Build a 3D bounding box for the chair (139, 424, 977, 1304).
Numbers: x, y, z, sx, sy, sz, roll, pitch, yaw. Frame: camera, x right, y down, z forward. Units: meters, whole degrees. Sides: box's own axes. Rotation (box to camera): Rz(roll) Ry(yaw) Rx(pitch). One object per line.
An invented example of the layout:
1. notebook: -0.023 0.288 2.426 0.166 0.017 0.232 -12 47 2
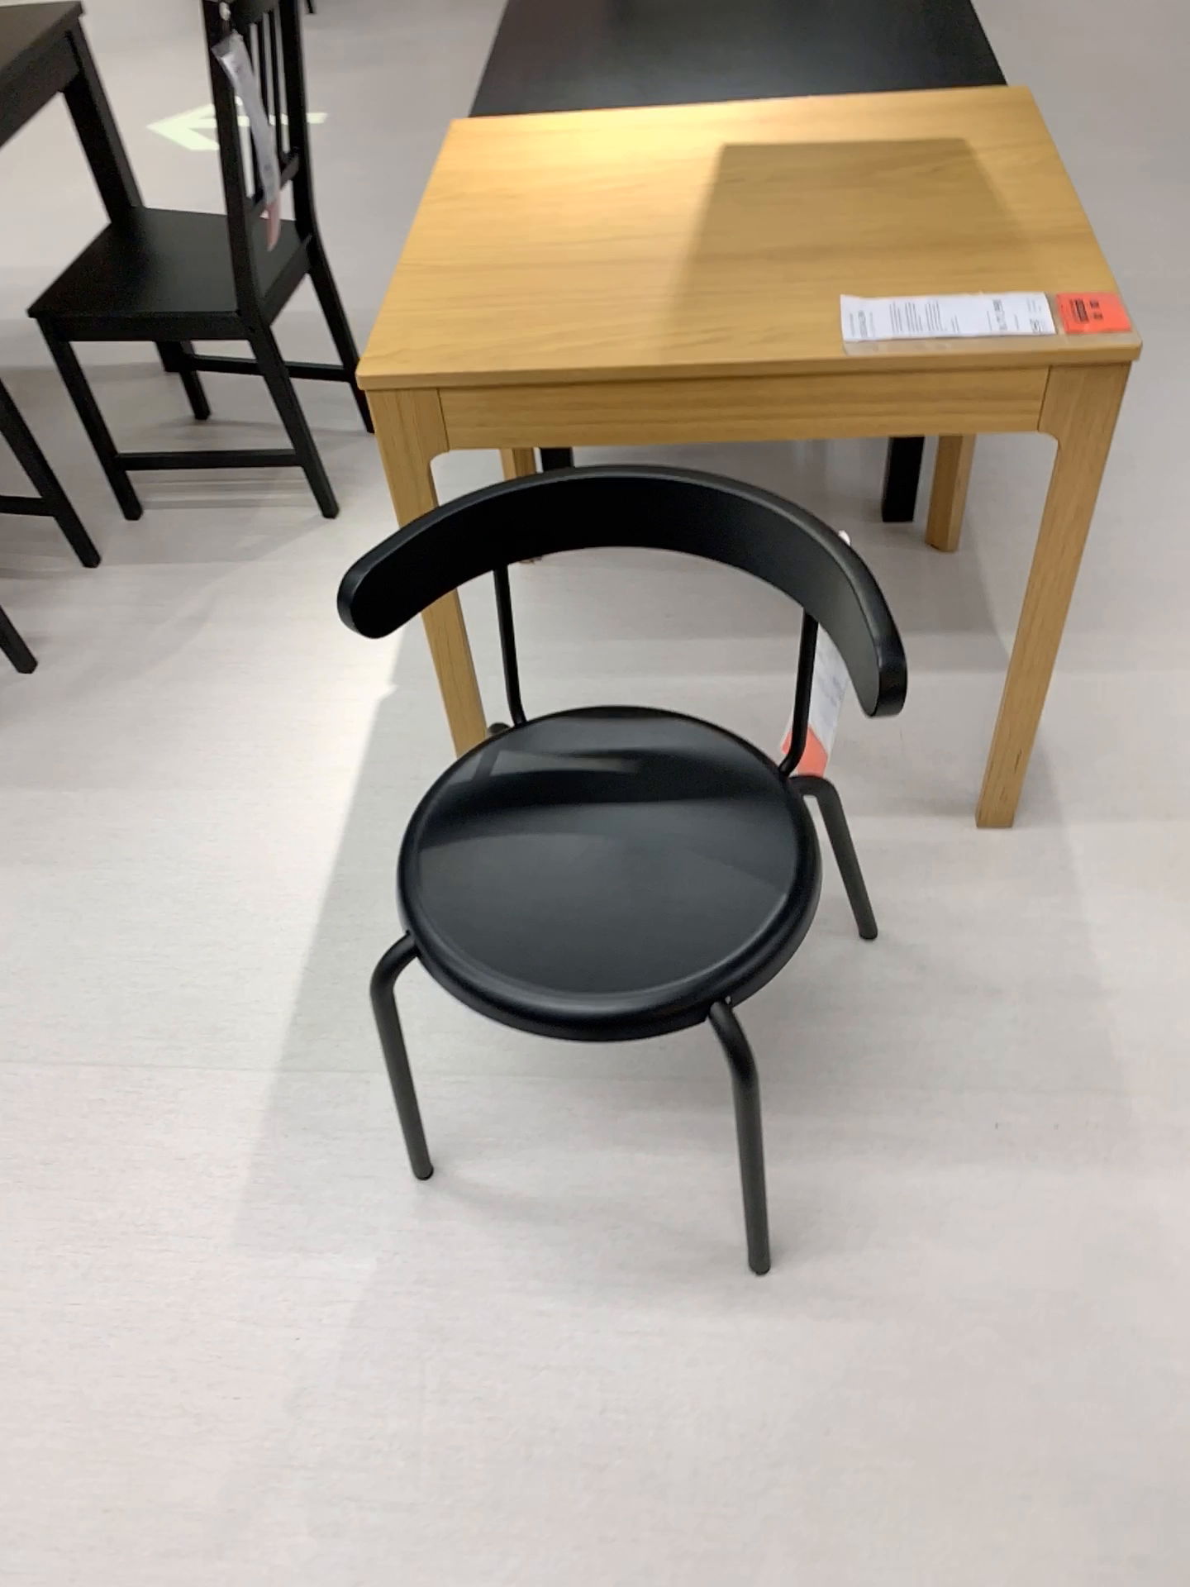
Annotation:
1. chair: 0.029 0.061 1.310 0.591 0.598 0.612 11 50 15
